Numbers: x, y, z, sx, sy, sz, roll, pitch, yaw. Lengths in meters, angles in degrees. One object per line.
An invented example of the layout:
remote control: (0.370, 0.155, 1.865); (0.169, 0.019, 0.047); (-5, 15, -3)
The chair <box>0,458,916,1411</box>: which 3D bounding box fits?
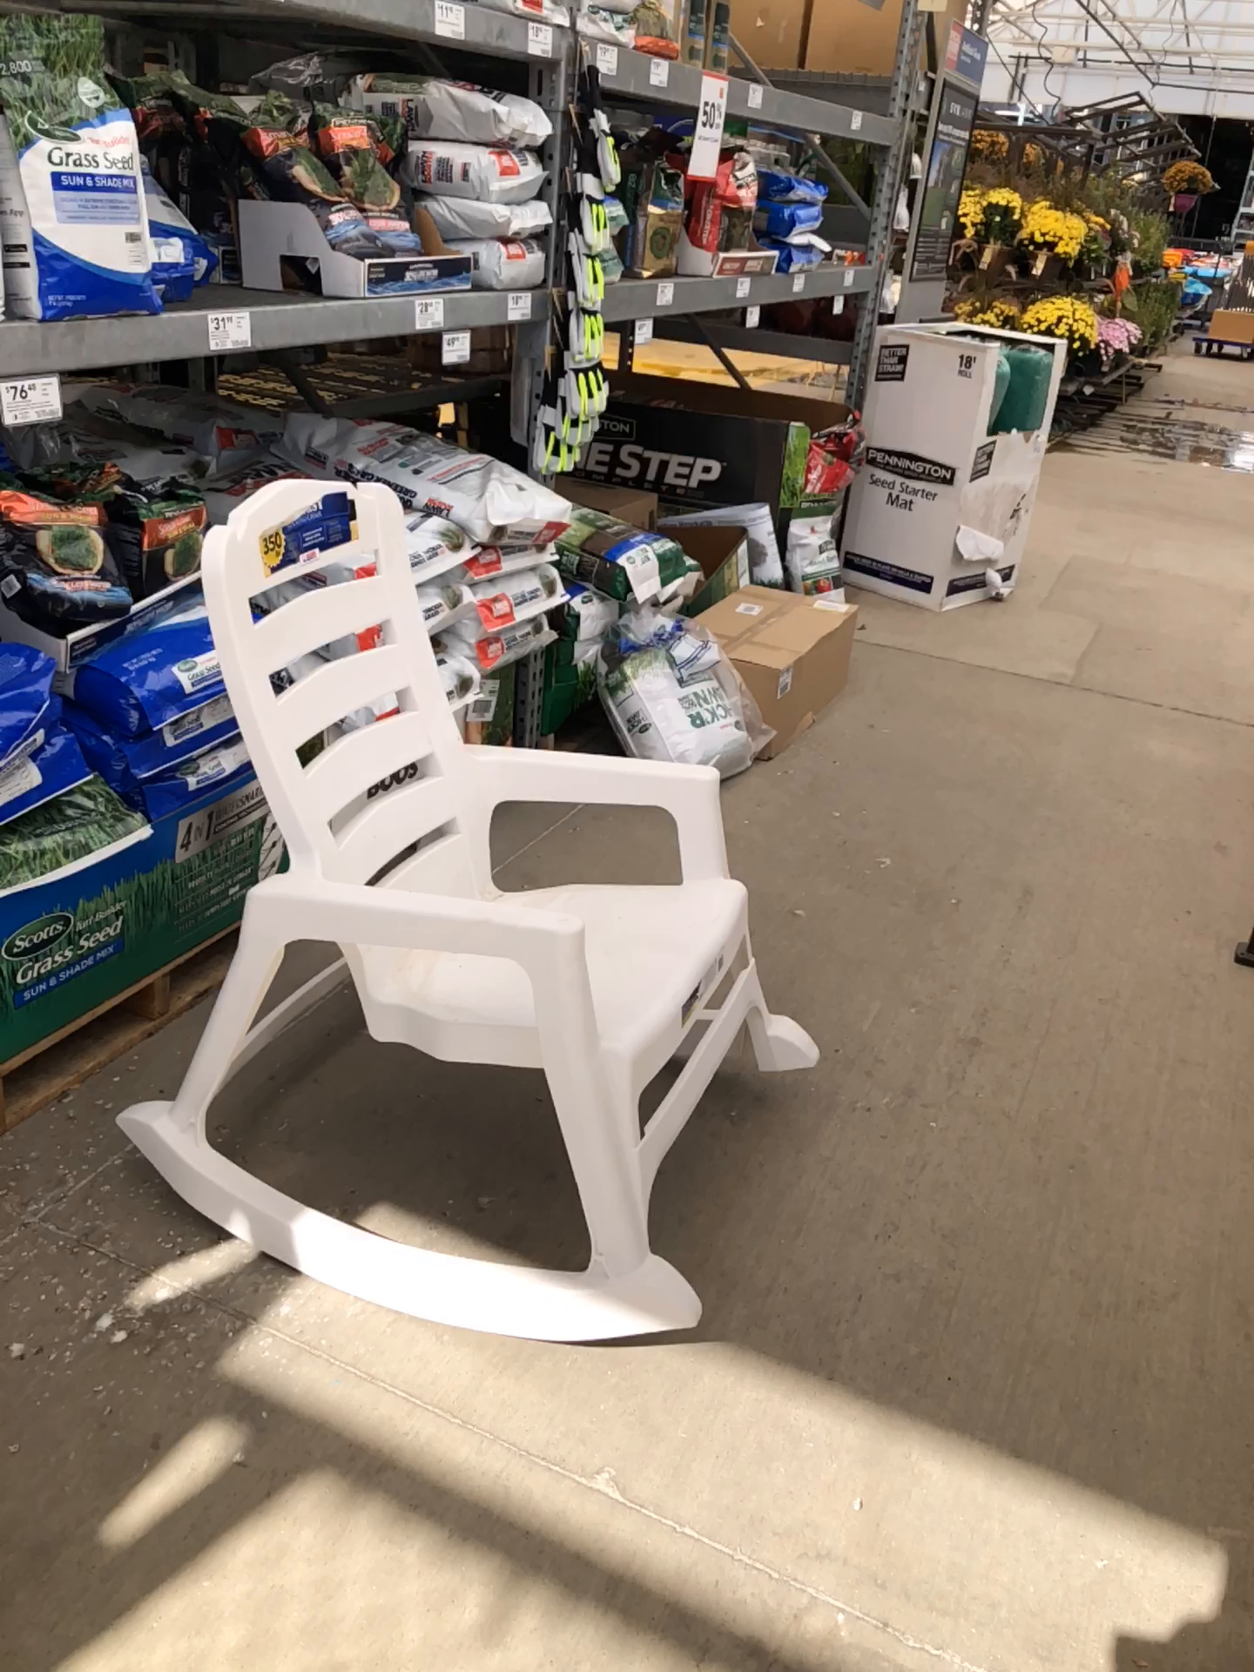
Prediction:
chair: (-0.227, 0.027, 2.025); (1.031, 0.928, 0.848); (12, 24, 16)
